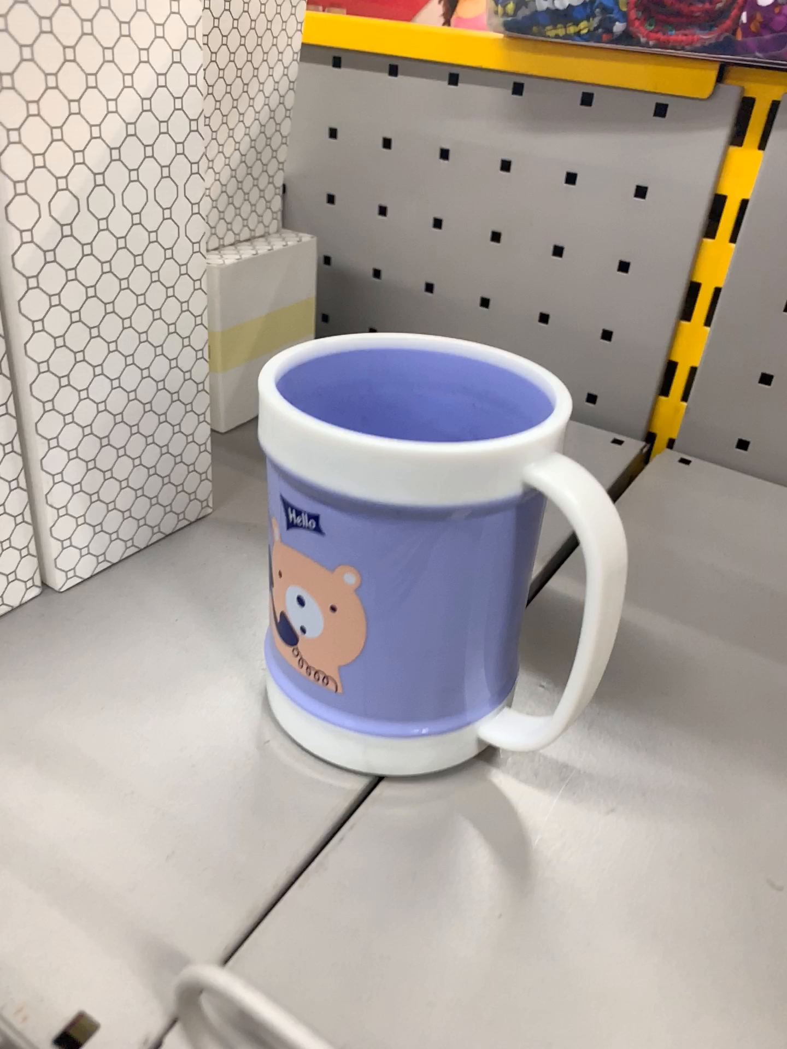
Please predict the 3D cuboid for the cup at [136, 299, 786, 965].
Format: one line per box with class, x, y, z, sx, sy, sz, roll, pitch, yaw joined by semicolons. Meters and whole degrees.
cup;0.011;0.014;0.213;0.120;0.100;0.090;27;37;30
